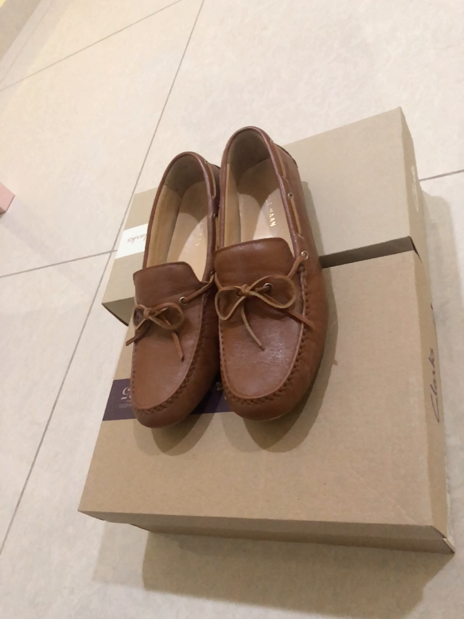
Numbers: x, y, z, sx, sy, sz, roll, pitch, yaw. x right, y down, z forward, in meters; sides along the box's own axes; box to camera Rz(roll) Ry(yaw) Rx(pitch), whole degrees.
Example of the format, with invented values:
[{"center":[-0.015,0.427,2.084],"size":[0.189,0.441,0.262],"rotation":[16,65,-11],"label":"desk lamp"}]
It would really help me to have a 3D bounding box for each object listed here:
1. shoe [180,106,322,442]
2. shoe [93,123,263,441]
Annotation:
[{"center":[0.023,-0.036,0.451],"size":[0.080,0.080,0.280],"rotation":[-12,59,26],"label":"shoe"},{"center":[-0.039,-0.029,0.478],"size":[0.080,0.080,0.280],"rotation":[-7,61,29],"label":"shoe"}]
